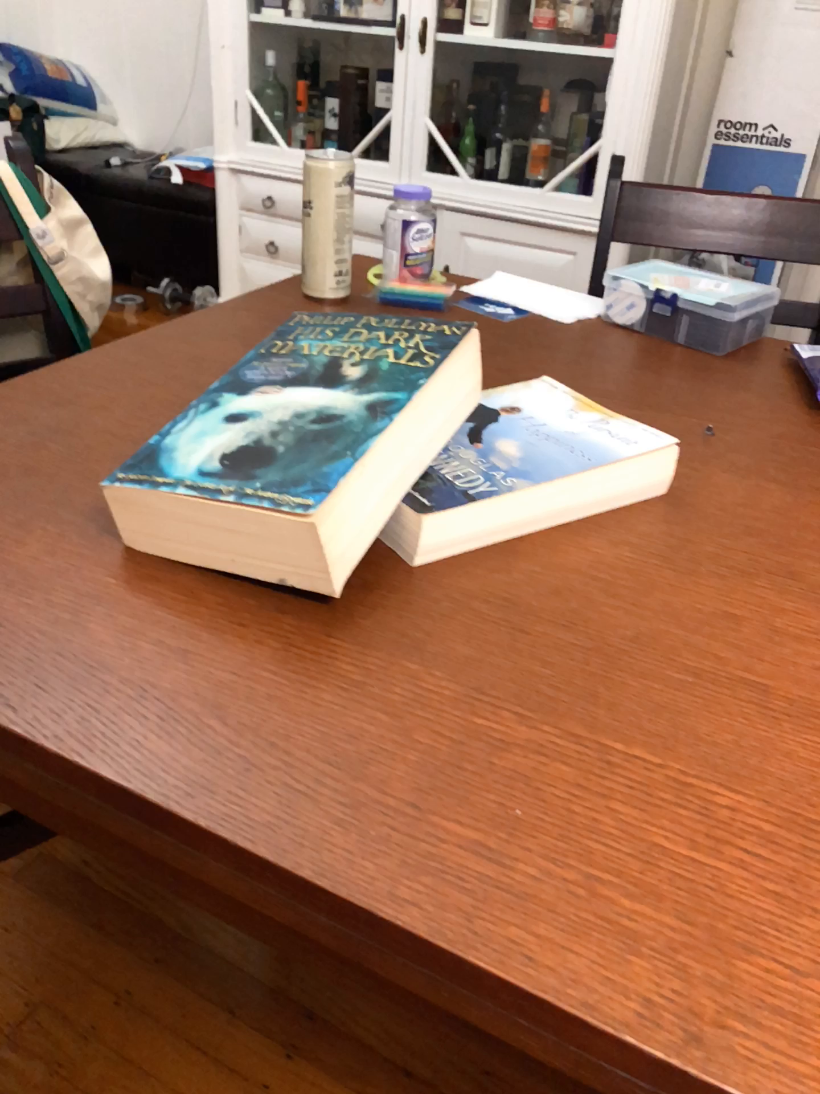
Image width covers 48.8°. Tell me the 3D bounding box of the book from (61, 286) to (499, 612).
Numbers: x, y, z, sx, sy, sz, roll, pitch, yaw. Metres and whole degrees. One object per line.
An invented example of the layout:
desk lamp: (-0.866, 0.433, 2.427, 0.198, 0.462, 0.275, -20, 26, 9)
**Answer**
book: (-0.066, -0.079, 0.574, 0.170, 0.060, 0.241, 12, 44, 22)

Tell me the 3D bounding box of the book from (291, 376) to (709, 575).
book: (0.061, -0.063, 0.648, 0.240, 0.040, 0.171, -16, 30, -25)
